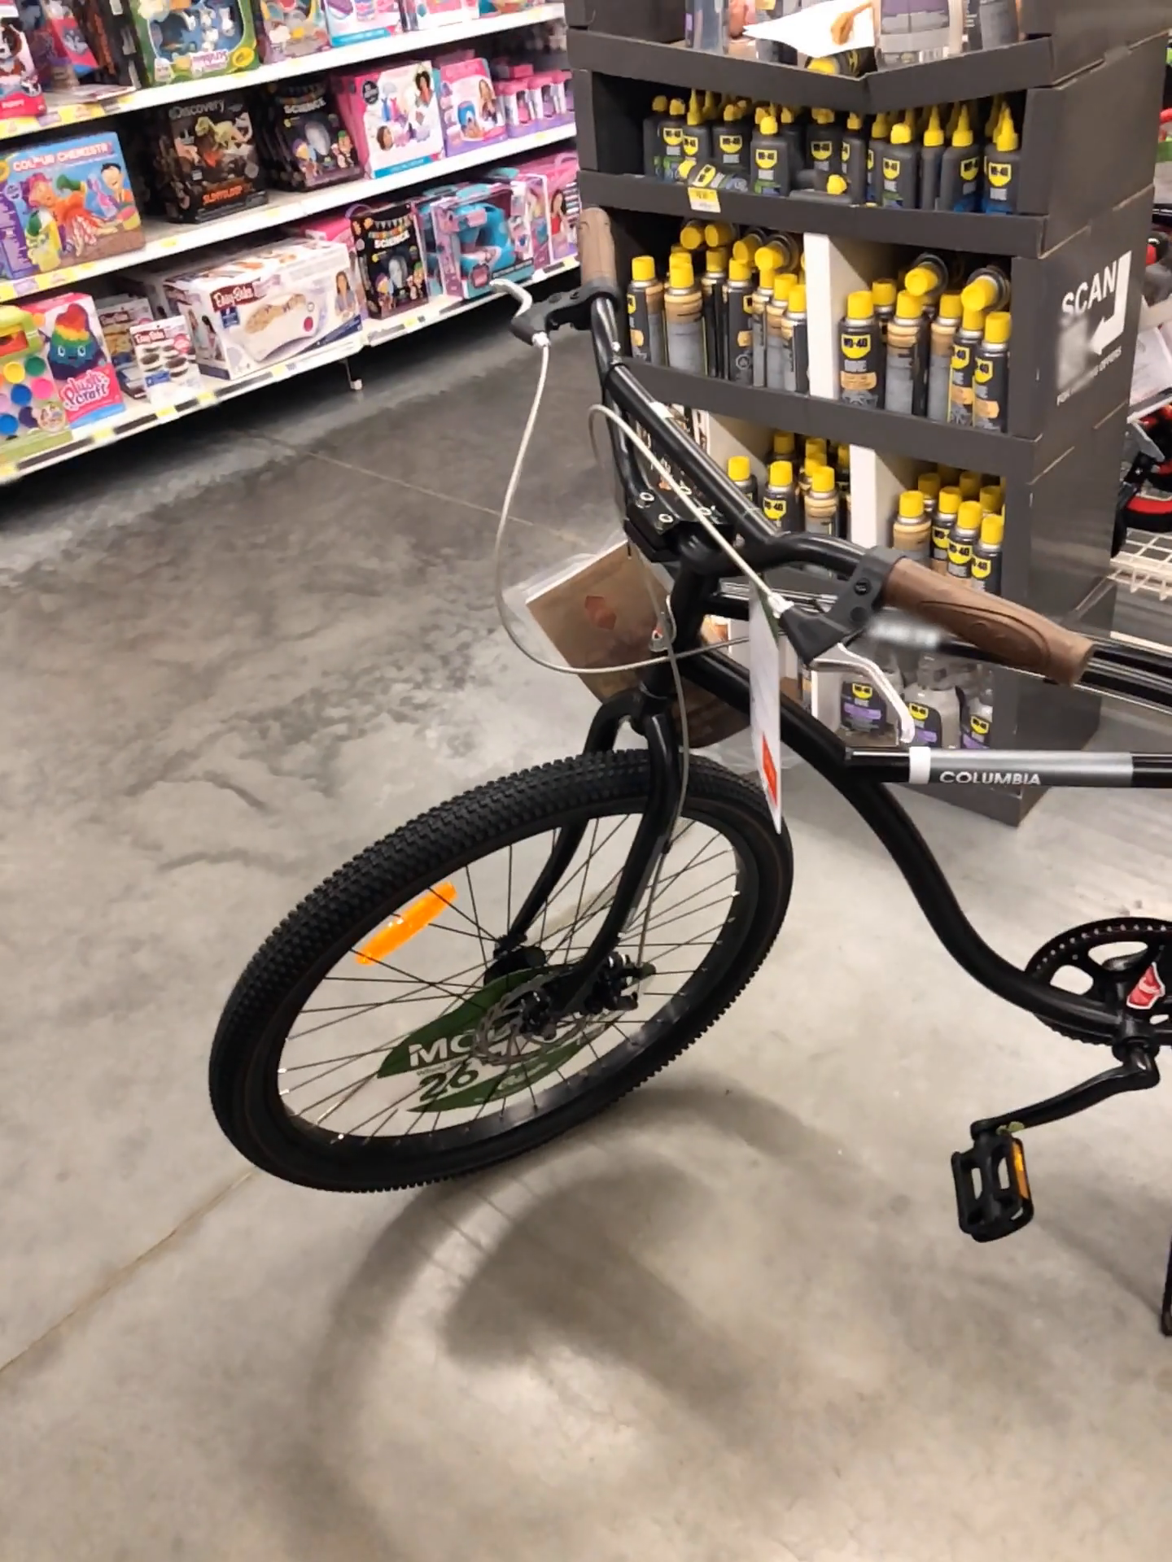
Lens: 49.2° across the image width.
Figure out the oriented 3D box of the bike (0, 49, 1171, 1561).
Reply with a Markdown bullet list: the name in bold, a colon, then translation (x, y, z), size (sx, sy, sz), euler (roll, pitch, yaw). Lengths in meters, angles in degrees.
- **bike**: translation (0.452, 0.059, 0.977), size (1.582, 0.975, 0.656), euler (0, 36, 2)
